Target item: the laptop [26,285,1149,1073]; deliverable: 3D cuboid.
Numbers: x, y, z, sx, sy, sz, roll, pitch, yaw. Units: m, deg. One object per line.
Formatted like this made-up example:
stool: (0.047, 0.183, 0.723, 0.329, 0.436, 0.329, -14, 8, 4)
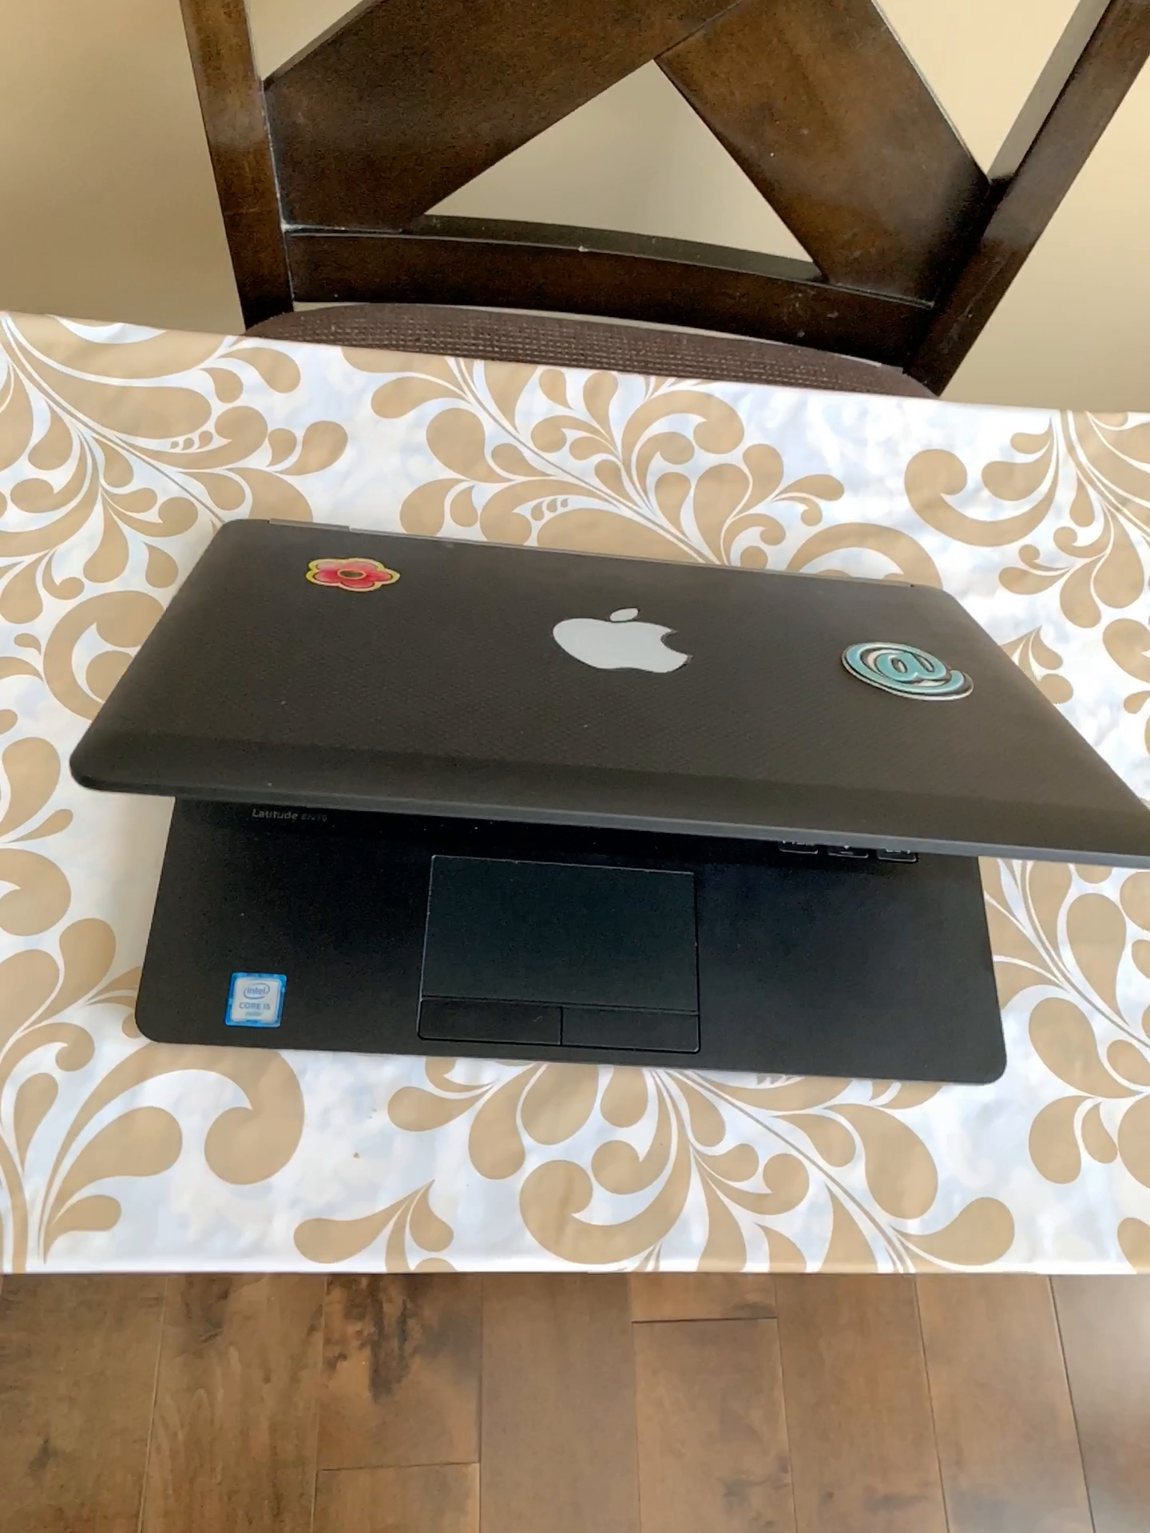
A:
laptop: (0.015, -0.019, 0.391, 0.300, 0.127, 0.199, 5, 64, -7)
